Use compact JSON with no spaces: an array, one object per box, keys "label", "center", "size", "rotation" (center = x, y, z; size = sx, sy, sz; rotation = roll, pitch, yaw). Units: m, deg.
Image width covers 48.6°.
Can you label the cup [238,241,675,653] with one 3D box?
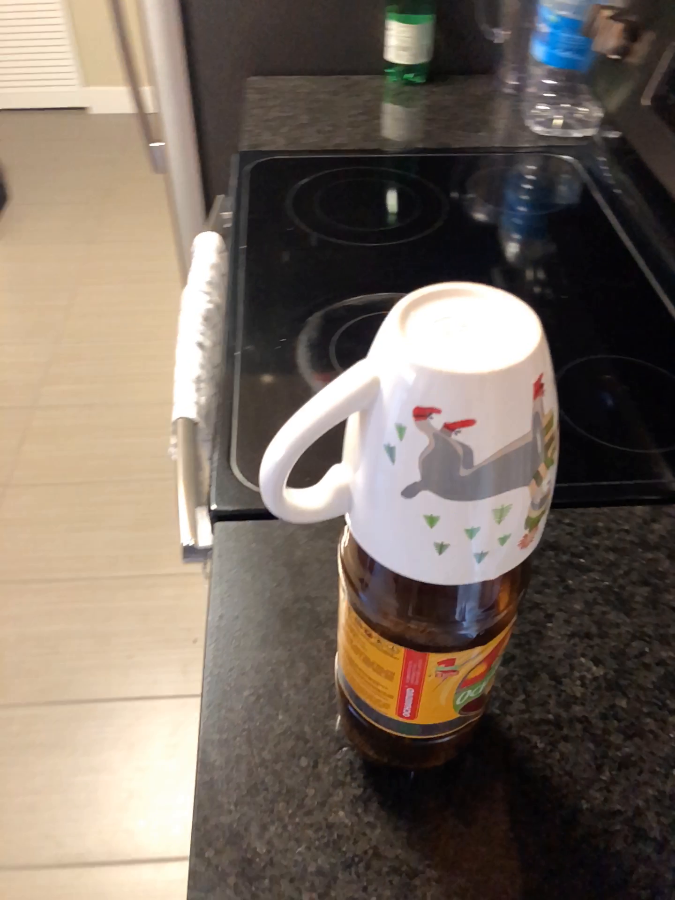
[{"label":"cup","center":[0.043,-0.005,0.332],"size":[0.140,0.110,0.100],"rotation":[-18,49,-19]}]
